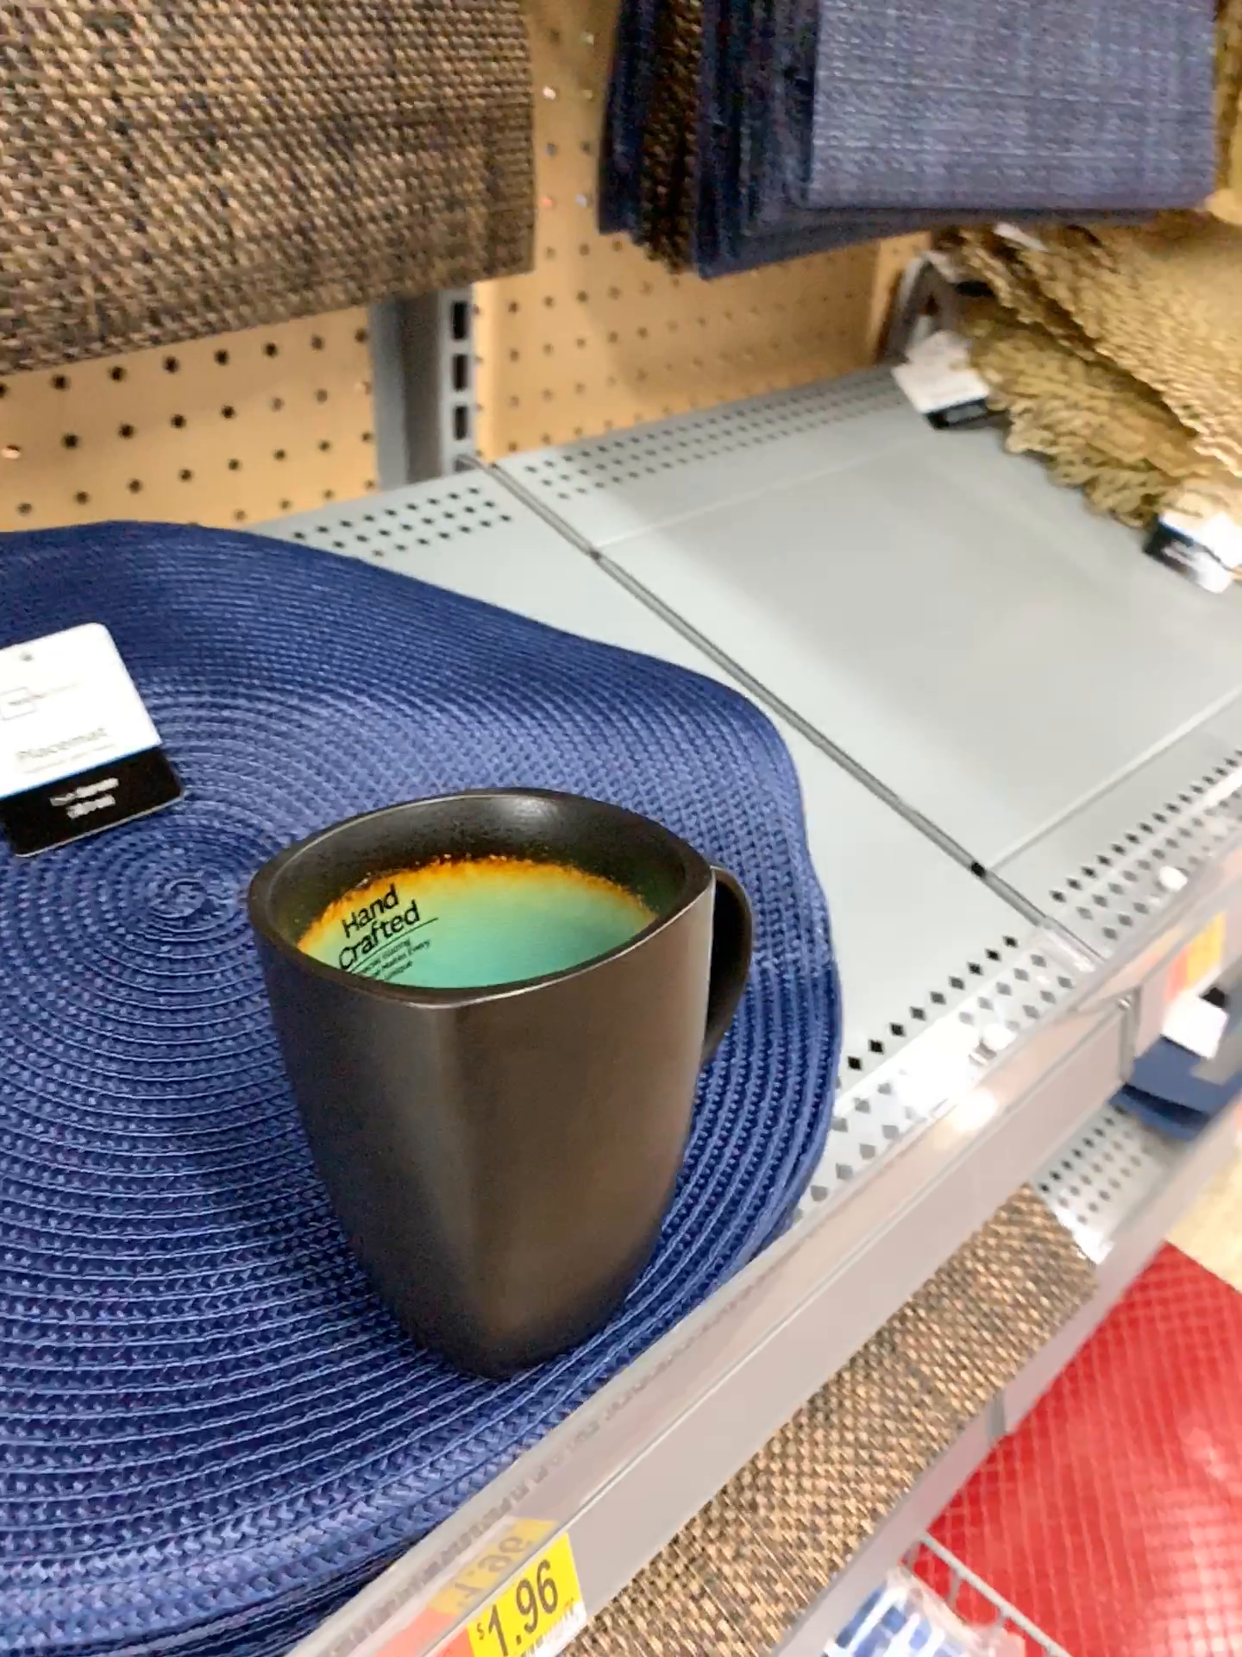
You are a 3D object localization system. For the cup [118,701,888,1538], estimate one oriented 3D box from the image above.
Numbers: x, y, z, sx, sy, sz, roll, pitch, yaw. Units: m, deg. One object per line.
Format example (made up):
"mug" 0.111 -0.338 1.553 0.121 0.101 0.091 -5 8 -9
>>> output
"cup" -0.022 0.052 0.291 0.130 0.109 0.090 -22 35 -34
